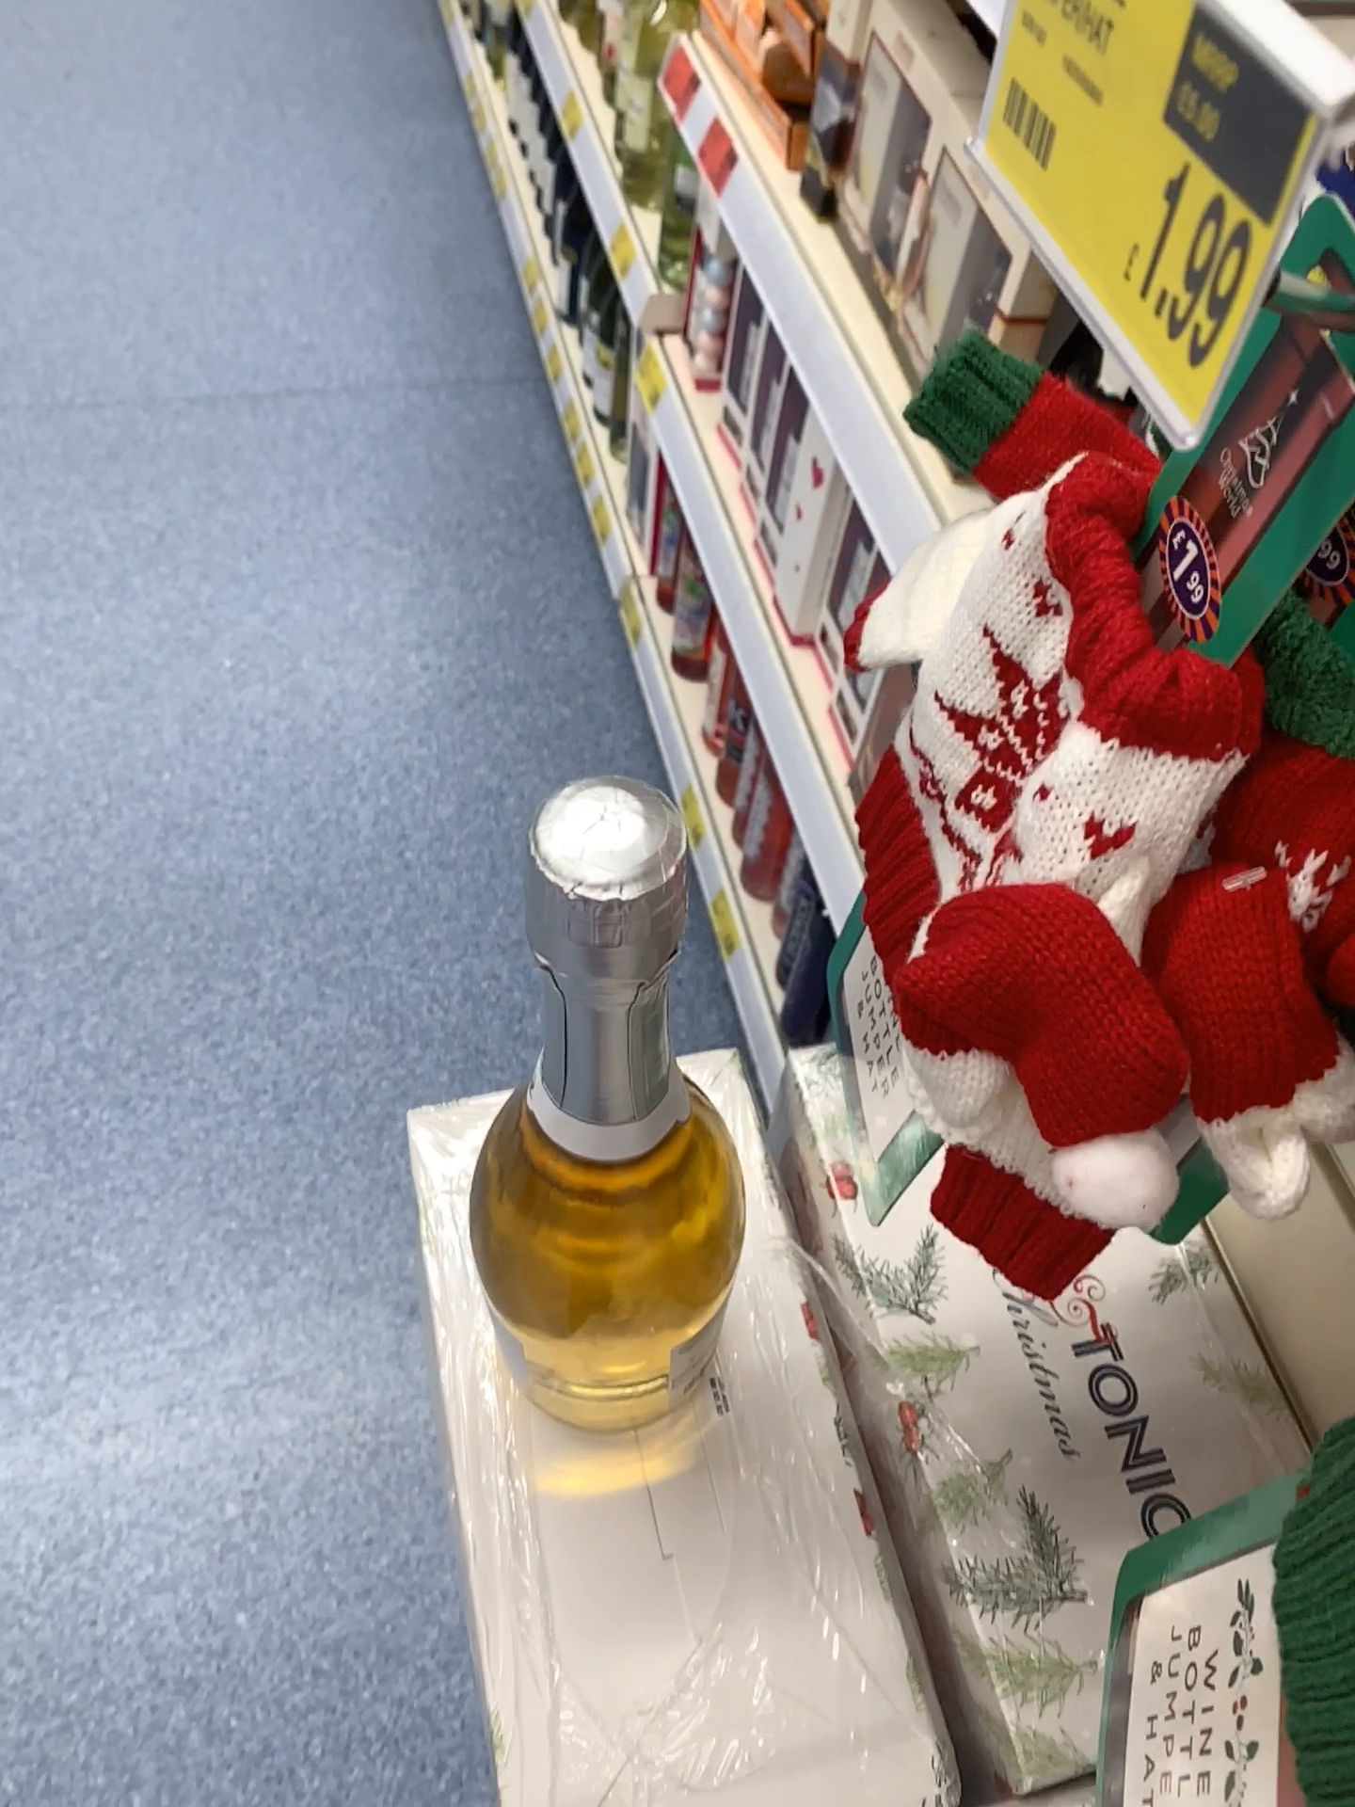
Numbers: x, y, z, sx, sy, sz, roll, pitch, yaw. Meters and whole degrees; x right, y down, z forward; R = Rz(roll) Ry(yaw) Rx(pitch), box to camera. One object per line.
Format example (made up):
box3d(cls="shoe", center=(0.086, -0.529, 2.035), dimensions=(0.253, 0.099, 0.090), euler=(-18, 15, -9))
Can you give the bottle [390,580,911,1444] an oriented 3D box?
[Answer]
box3d(cls="bottle", center=(-0.014, 0.060, 0.404), dimensions=(0.095, 0.299, 0.095), euler=(3, 54, -4))
